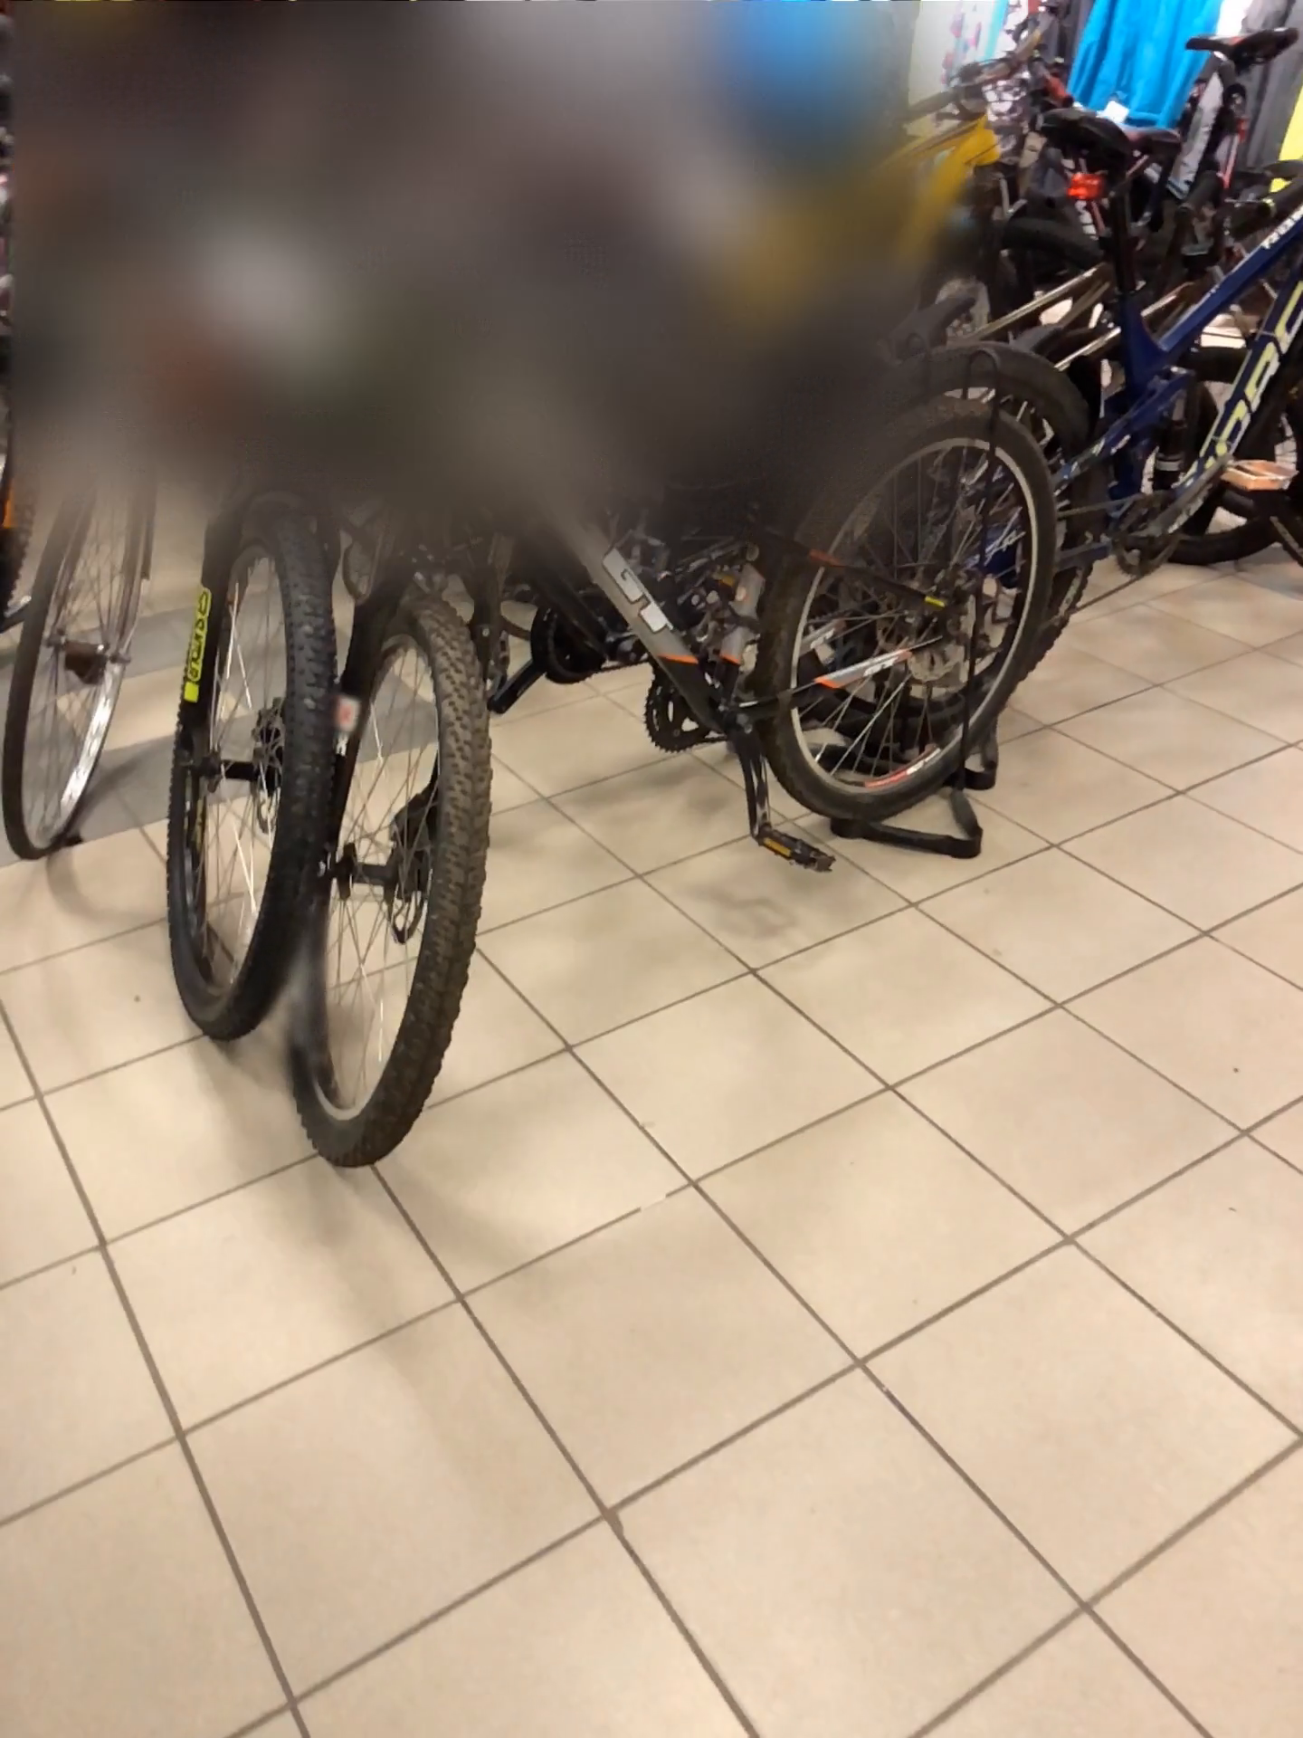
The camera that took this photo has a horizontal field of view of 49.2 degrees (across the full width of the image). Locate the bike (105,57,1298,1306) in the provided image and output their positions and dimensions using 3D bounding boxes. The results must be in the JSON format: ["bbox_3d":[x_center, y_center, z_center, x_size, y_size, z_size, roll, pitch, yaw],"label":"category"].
[{"bbox_3d":[0.200,-0.406,1.772,0.625,1.012,1.430,20,35,31],"label":"bike"}]
